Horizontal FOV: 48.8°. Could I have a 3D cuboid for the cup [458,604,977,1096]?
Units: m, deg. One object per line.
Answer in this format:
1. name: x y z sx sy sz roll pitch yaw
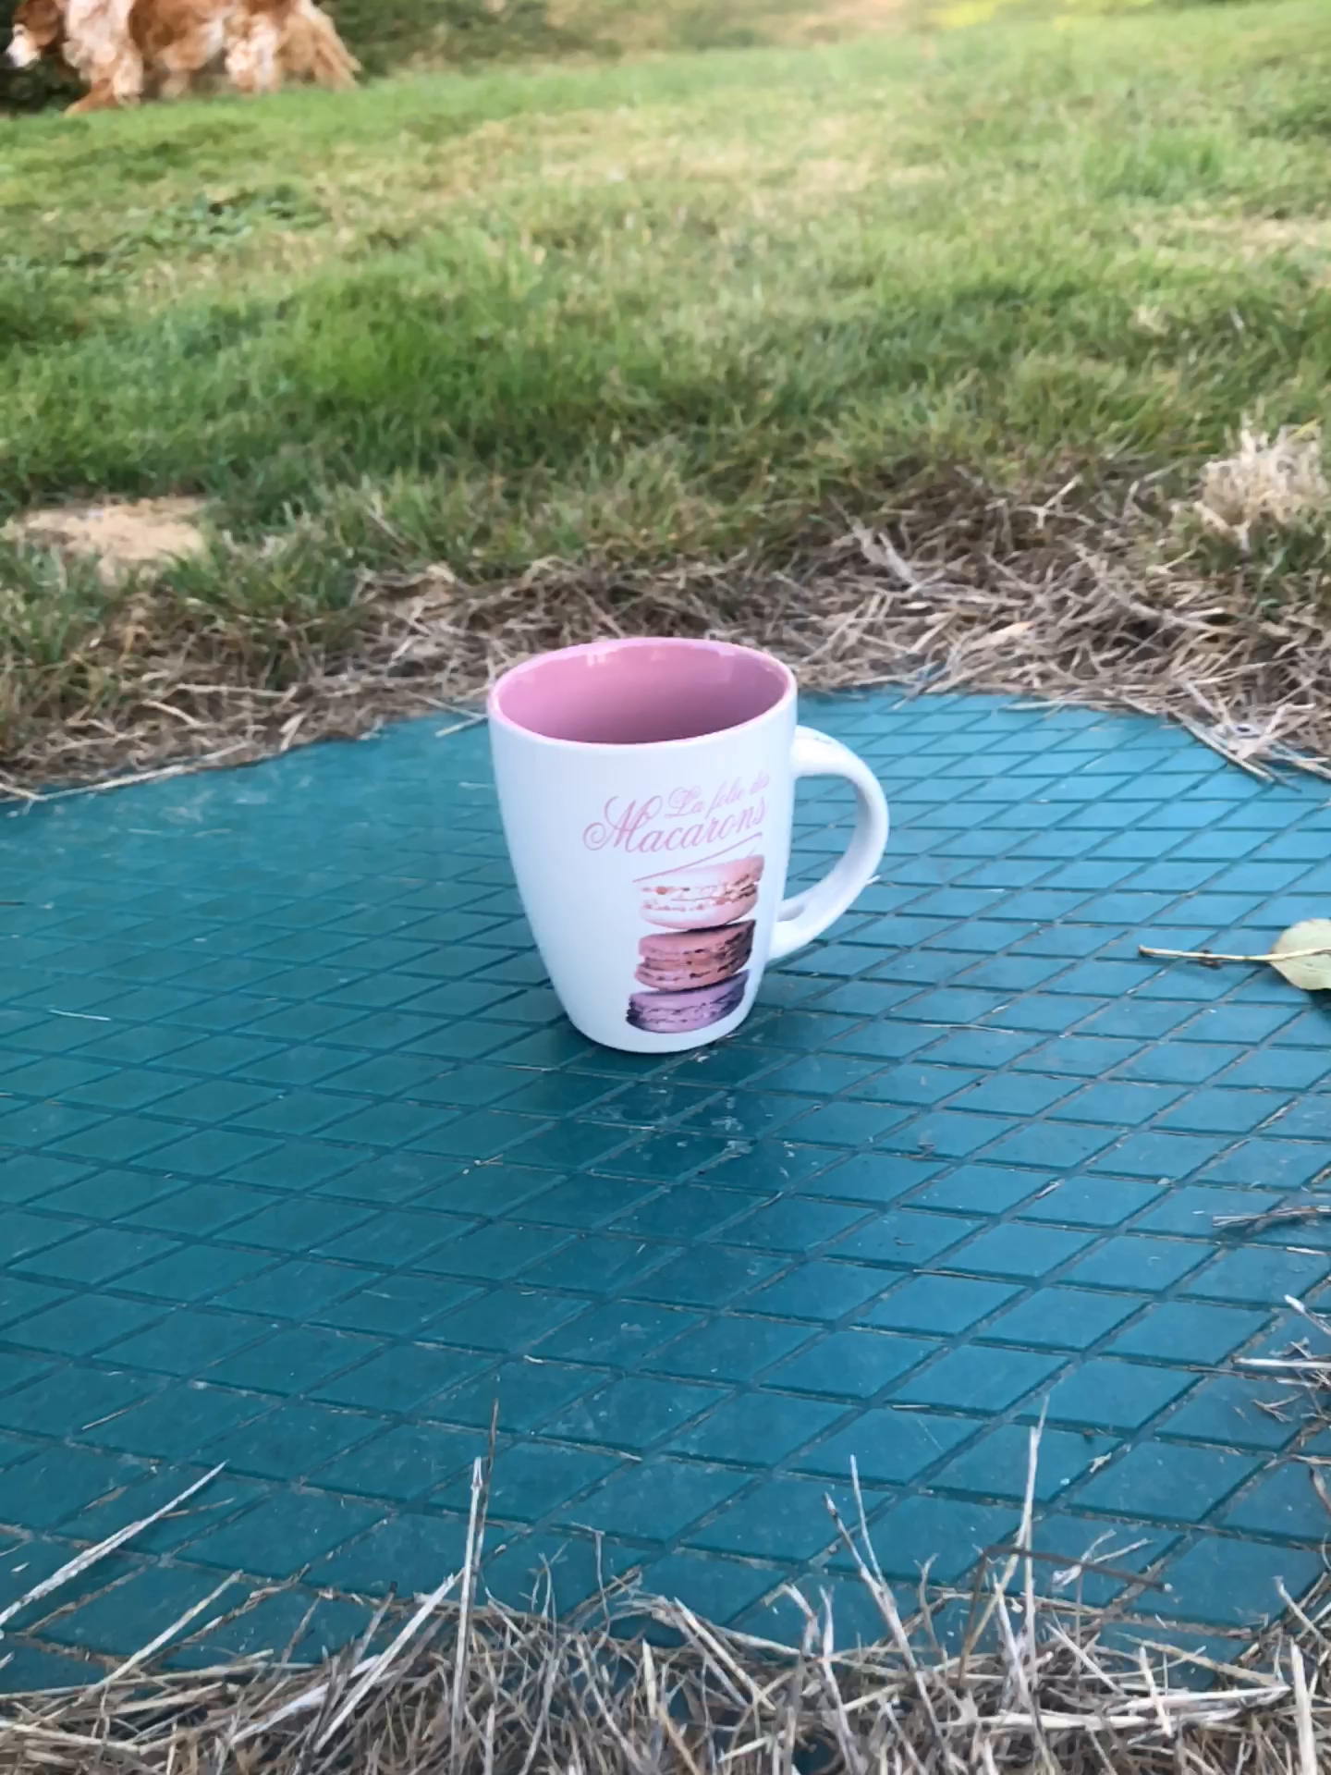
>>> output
1. cup: 0.014 -0.017 0.433 0.121 0.091 0.095 -13 28 -14
